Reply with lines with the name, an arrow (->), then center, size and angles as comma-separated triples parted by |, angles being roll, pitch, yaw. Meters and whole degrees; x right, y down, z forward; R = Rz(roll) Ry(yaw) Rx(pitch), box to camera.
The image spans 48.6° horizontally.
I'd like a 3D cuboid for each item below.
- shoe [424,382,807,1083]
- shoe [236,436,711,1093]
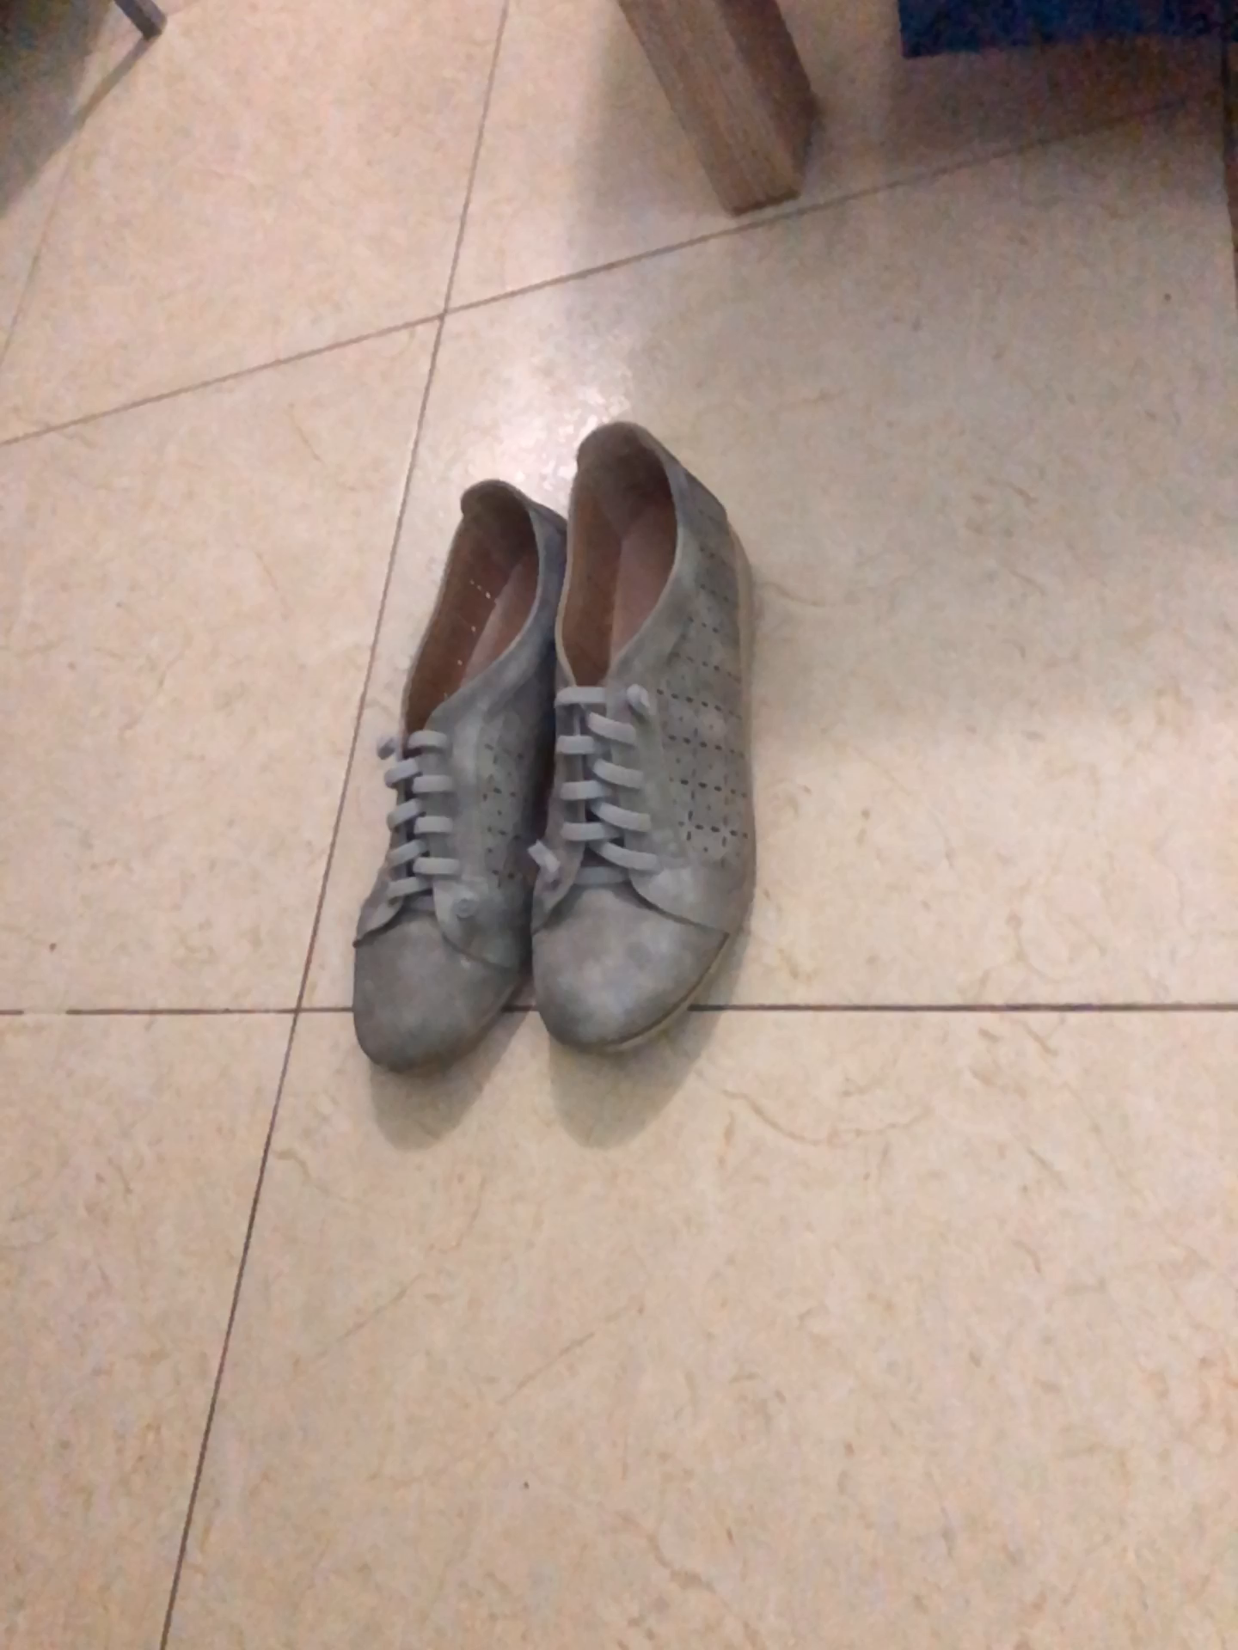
shoe -> 0.008, -0.041, 0.617 | 0.100, 0.100, 0.290 | -4, 65, 28
shoe -> -0.061, -0.034, 0.660 | 0.100, 0.100, 0.290 | 9, 72, 32
